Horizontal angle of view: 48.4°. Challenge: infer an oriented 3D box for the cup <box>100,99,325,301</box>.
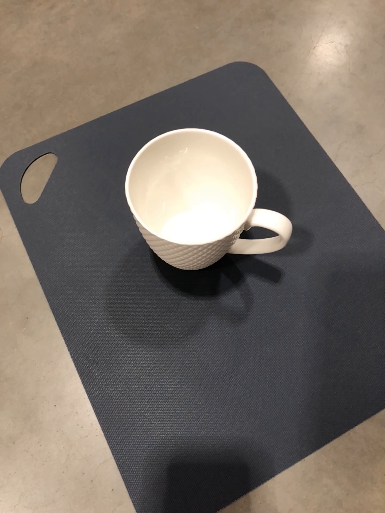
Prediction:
[{"bbox_3d":[0.016,-0.040,0.332,0.130,0.090,0.090,18,70,7],"label":"cup"}]
